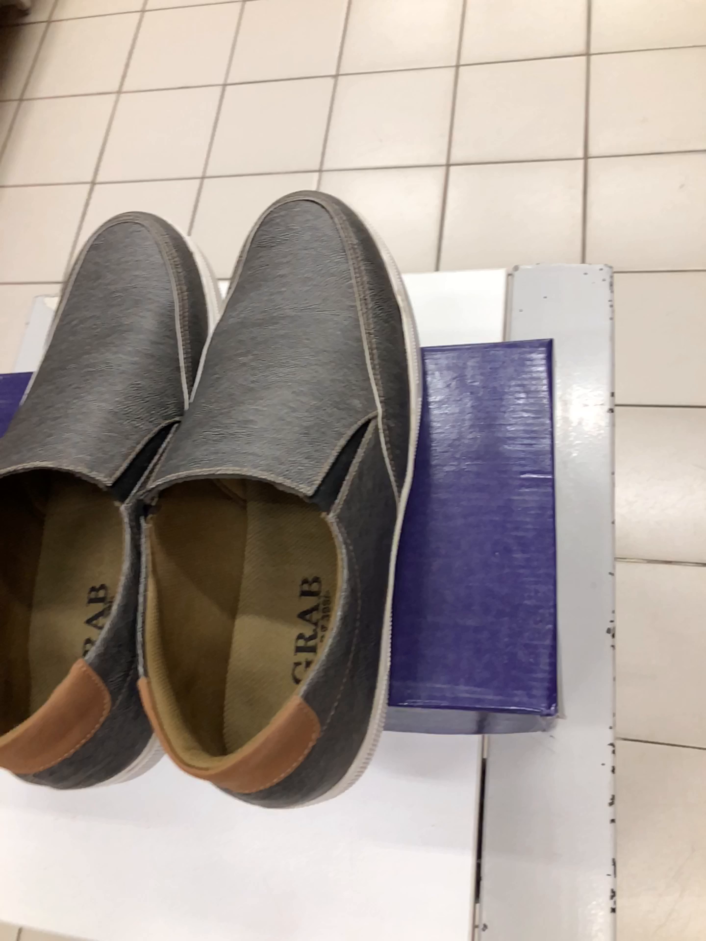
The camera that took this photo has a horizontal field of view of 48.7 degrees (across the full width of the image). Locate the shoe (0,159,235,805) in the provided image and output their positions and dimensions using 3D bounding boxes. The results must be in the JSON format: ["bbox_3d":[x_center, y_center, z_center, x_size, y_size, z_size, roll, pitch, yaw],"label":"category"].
[{"bbox_3d":[-0.131,0.005,0.360,0.100,0.100,0.271,-4,67,13],"label":"shoe"}]

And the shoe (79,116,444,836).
[{"bbox_3d":[-0.022,-0.002,0.380,0.100,0.120,0.311,0,69,15],"label":"shoe"}]
